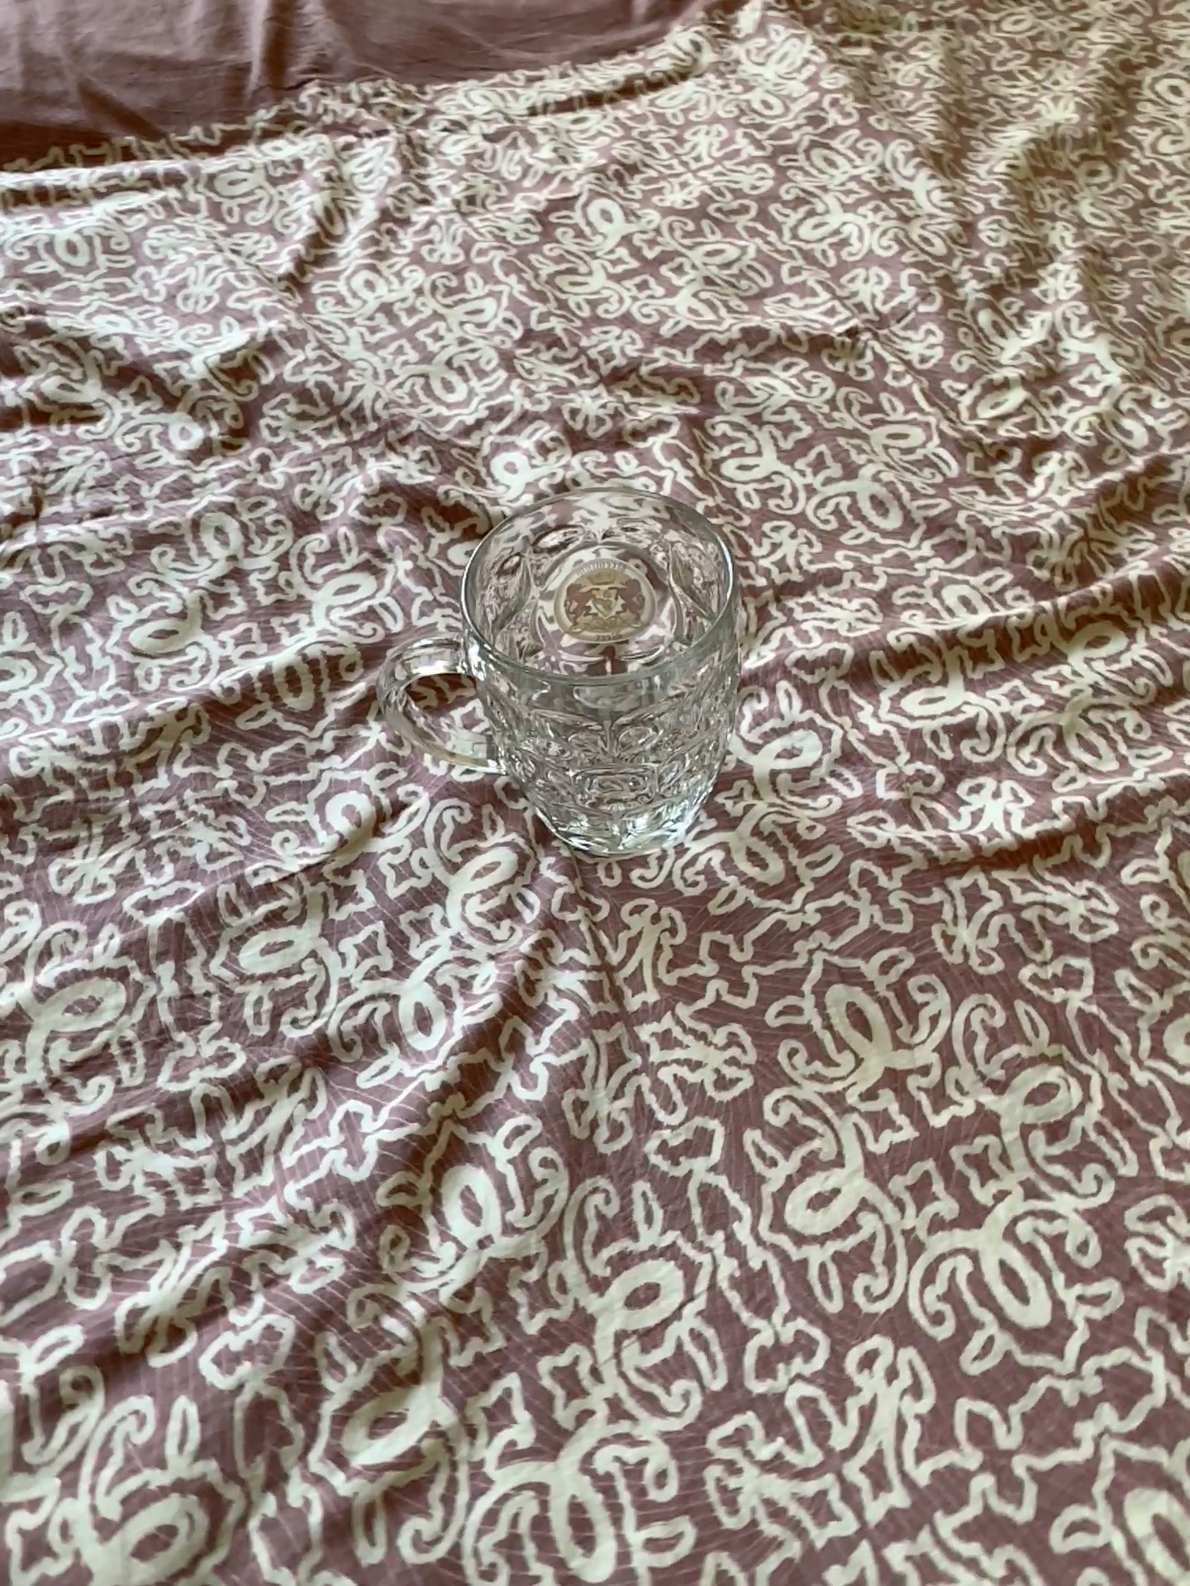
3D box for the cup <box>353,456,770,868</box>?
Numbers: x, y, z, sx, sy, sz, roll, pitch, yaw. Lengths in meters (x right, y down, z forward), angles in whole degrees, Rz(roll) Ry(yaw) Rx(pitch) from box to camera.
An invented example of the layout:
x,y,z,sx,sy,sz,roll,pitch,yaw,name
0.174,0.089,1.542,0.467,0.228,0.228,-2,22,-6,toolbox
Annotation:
x,y,z,sx,sy,sz,roll,pitch,yaw,name
-0.008,-0.043,0.422,0.120,0.109,0.091,0,51,1,cup
